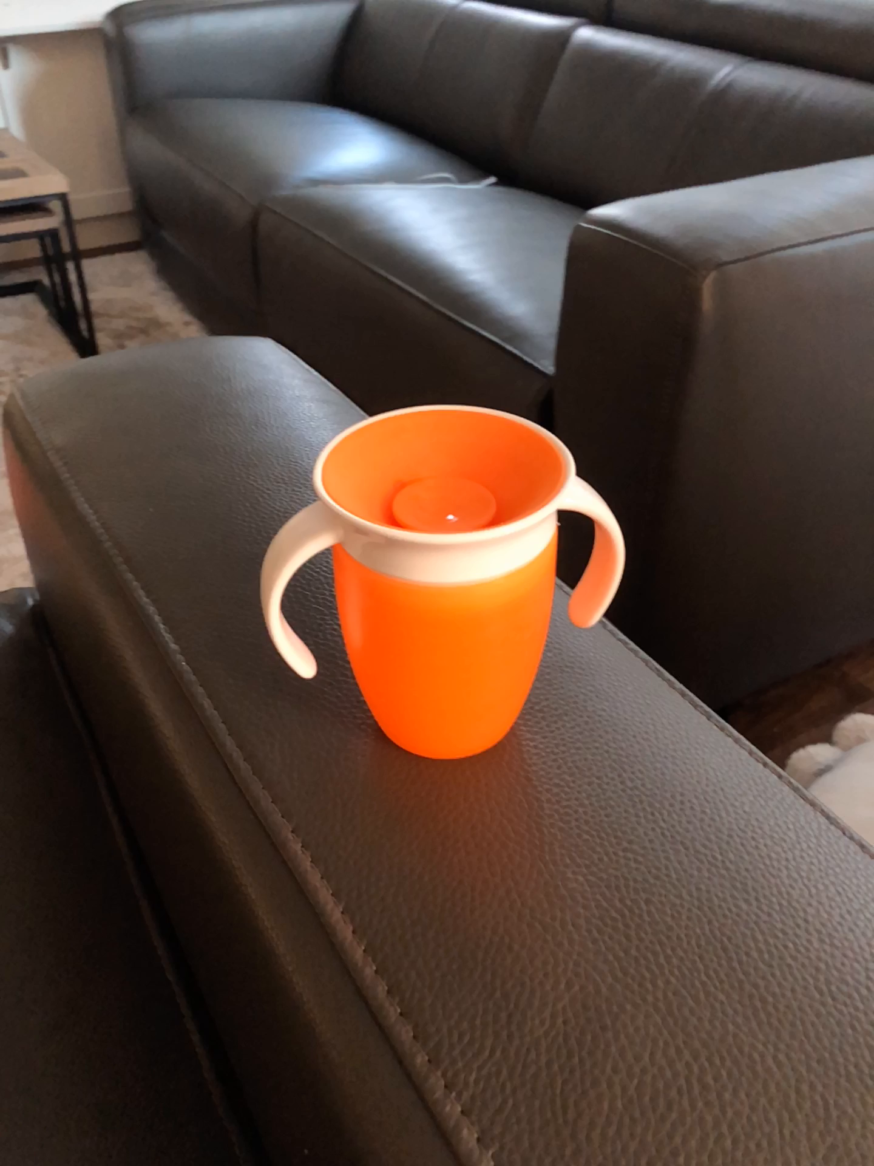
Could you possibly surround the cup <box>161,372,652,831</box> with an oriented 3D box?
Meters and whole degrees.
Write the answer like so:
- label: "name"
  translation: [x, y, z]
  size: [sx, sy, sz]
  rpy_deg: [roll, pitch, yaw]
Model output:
- label: "cup"
  translation: [-0.013, 0.001, 0.316]
  size: [0.126, 0.096, 0.083]
  rpy_deg: [-12, 38, -16]
